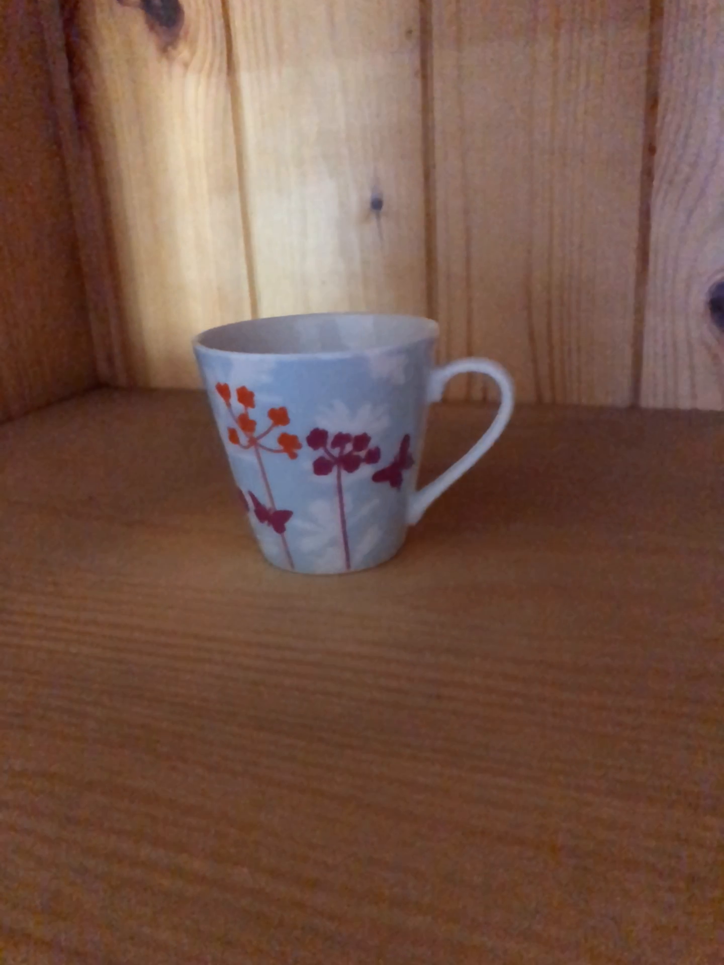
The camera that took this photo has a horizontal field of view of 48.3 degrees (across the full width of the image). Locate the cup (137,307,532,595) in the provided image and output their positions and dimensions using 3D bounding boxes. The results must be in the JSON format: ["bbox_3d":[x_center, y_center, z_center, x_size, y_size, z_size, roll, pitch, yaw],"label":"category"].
[{"bbox_3d":[0.000,-0.013,0.202,0.080,0.050,0.070,2,20,13],"label":"cup"}]
